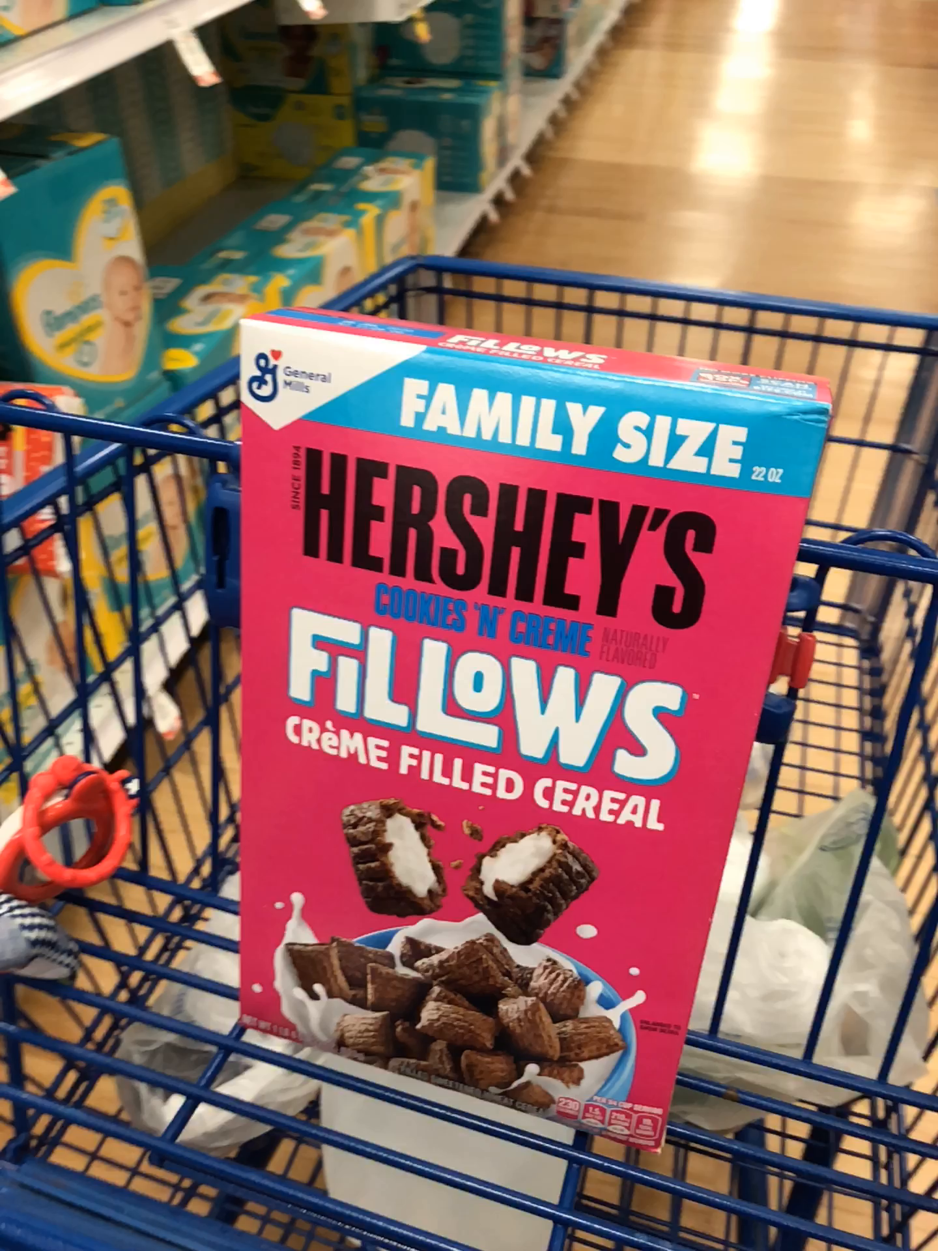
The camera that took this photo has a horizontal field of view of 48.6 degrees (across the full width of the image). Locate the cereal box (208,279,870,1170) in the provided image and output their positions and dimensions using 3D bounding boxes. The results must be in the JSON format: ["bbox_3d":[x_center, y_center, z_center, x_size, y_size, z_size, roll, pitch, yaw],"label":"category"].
[{"bbox_3d":[0.008,0.039,0.391,0.200,0.299,0.060,12,22,13],"label":"cereal box"}]
